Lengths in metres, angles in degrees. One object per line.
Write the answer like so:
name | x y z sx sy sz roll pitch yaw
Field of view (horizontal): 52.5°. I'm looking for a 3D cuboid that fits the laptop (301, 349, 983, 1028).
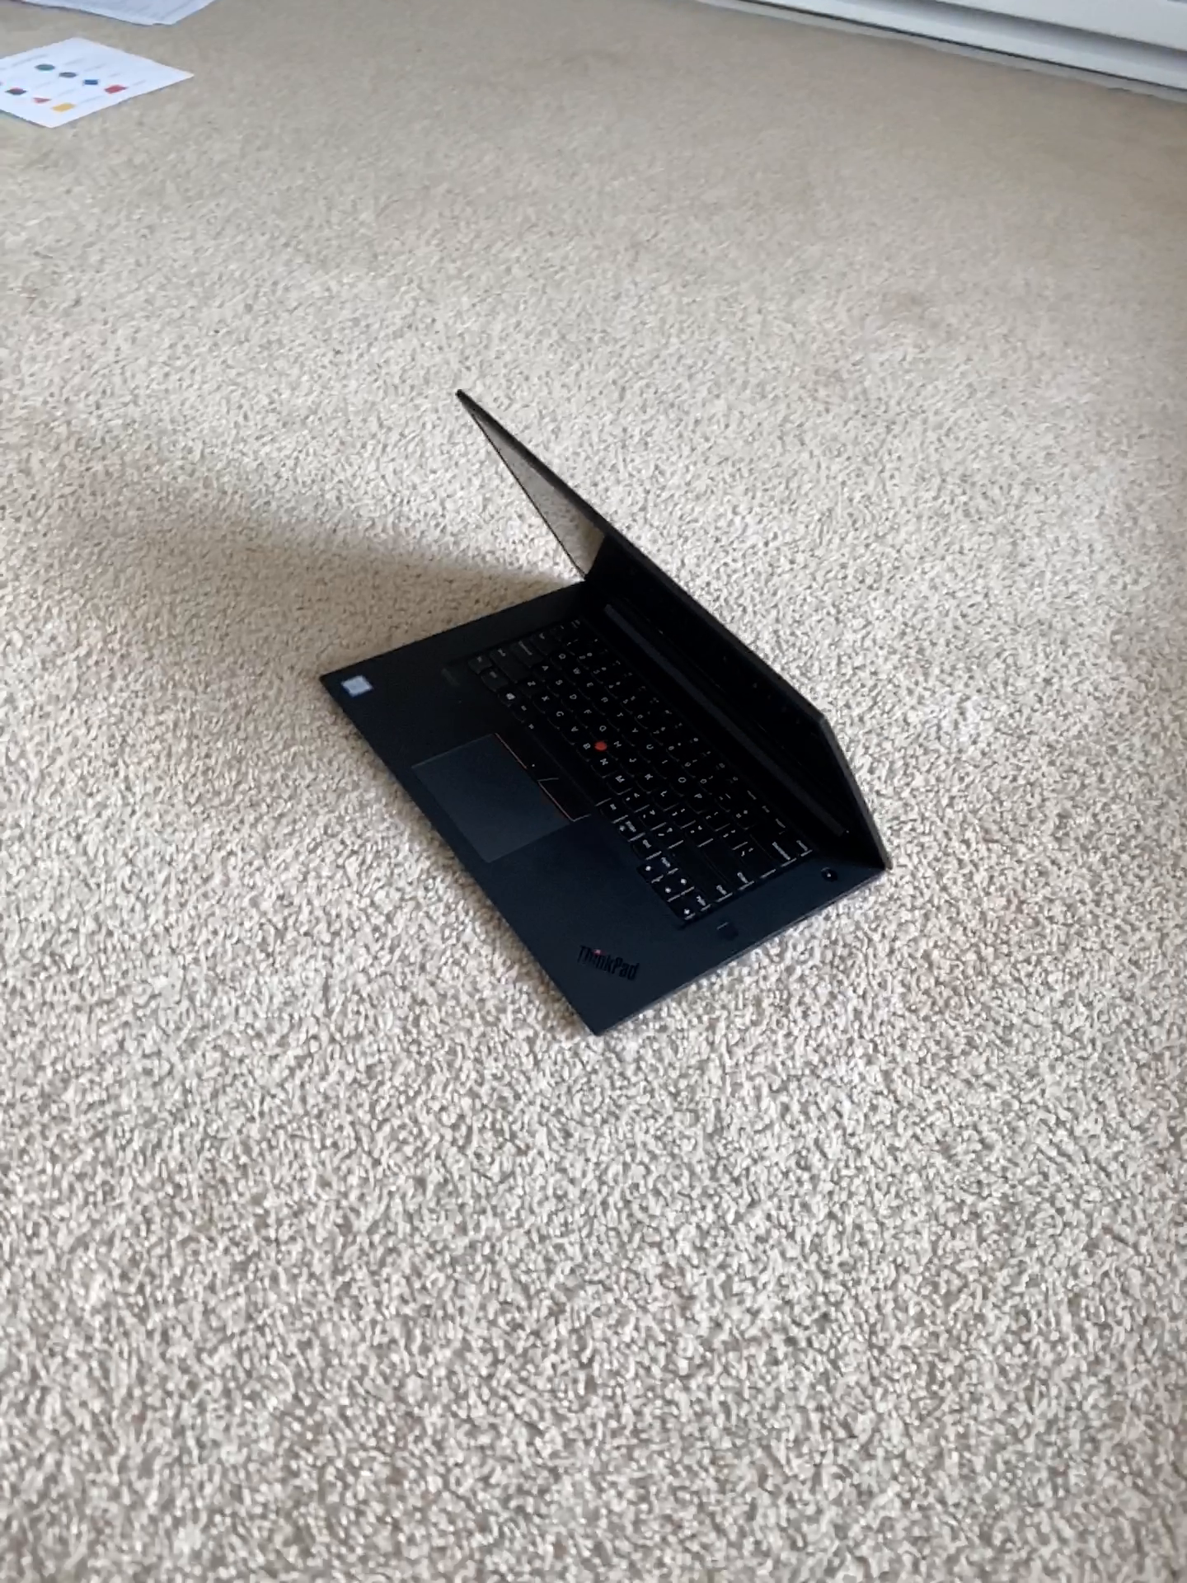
laptop | 0.008 -0.088 0.785 0.244 0.198 0.356 -24 55 -26
